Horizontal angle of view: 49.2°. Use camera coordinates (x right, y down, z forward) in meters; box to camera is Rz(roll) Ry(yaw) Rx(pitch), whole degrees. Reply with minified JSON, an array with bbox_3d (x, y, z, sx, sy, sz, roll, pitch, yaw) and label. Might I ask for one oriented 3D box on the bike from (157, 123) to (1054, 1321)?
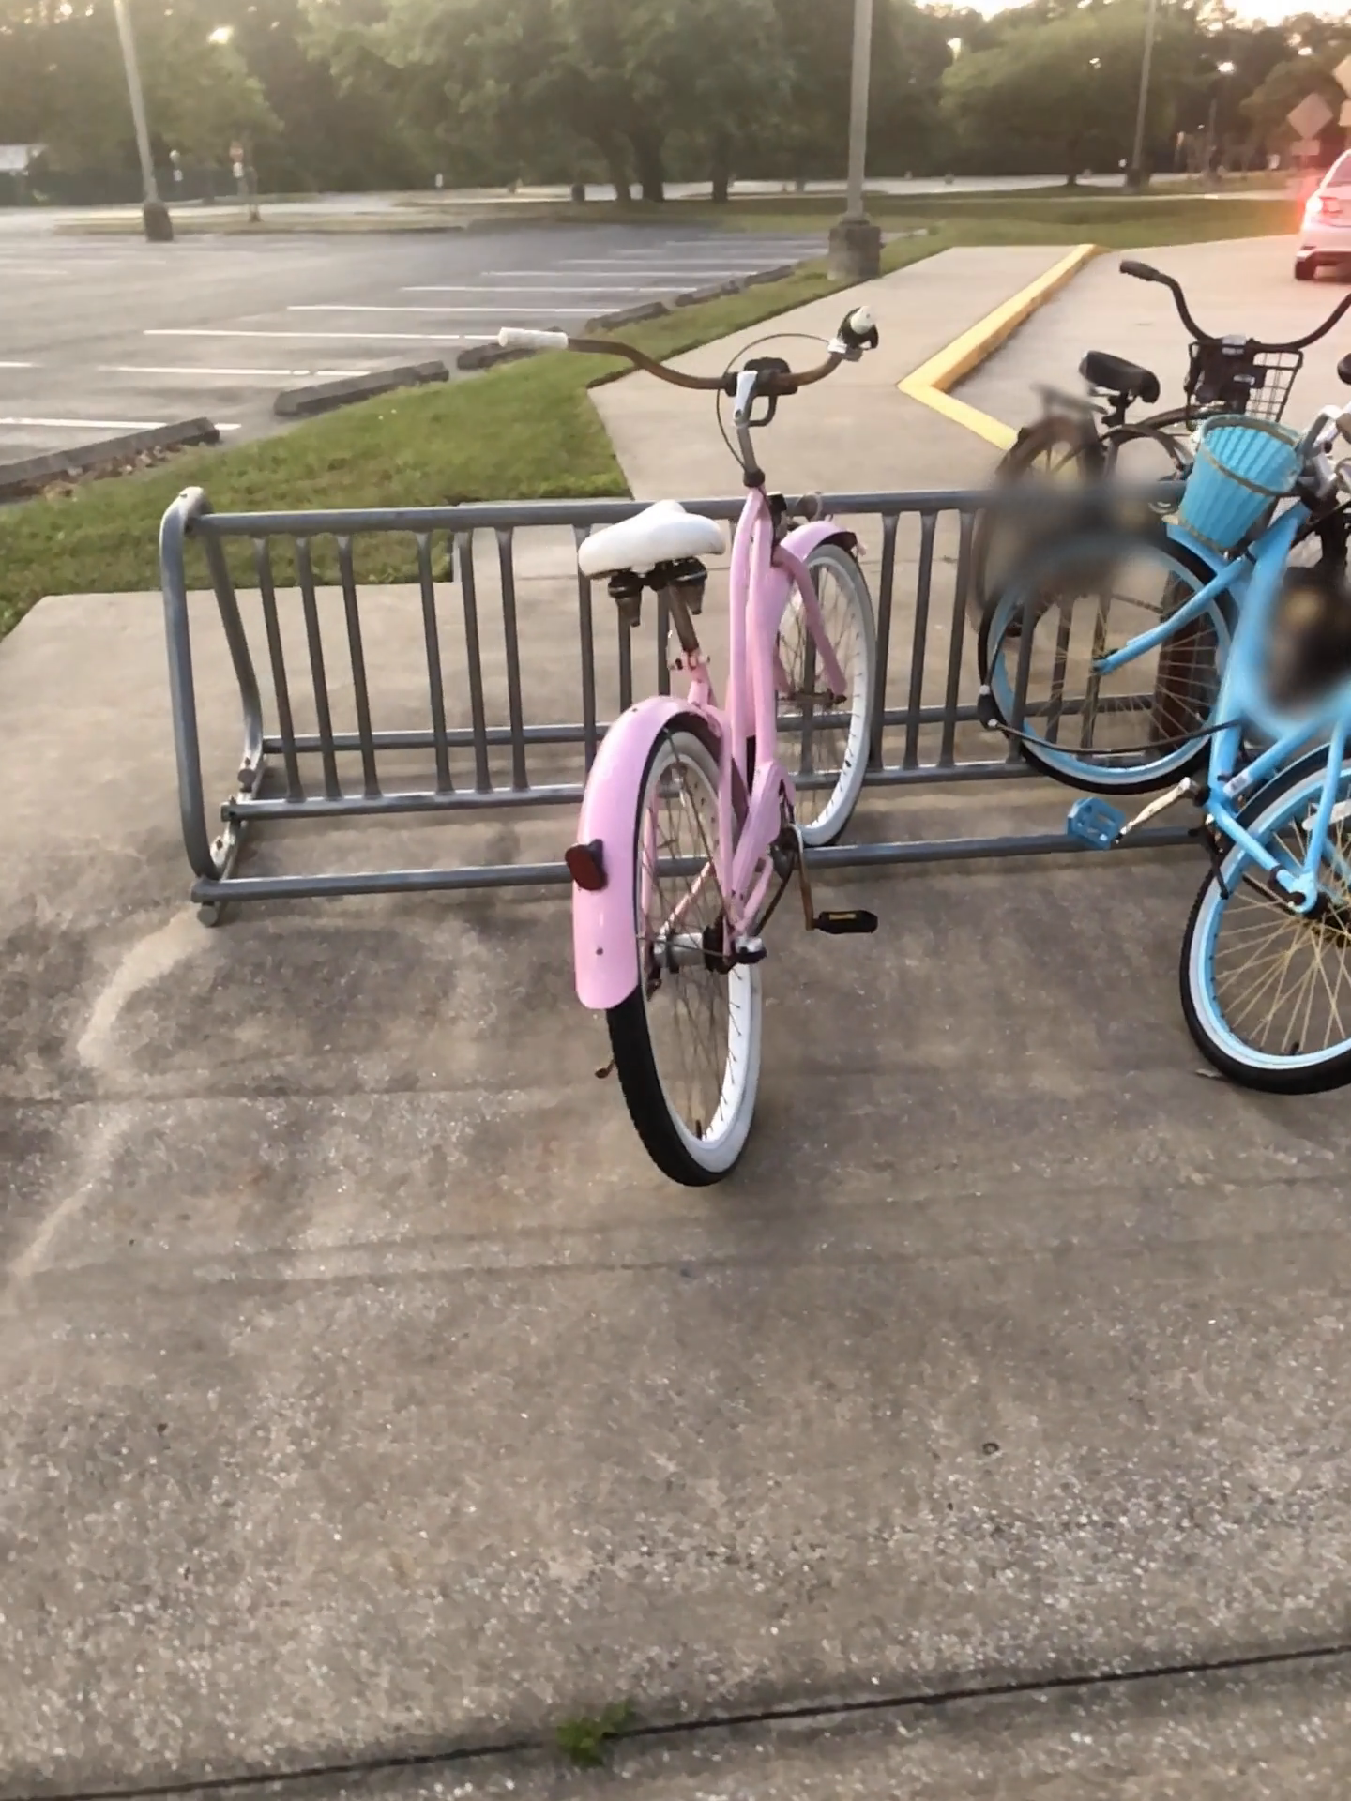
[{"bbox_3d":[0.079,-0.480,2.376,0.838,1.116,1.662,6,33,14],"label":"bike"}]
